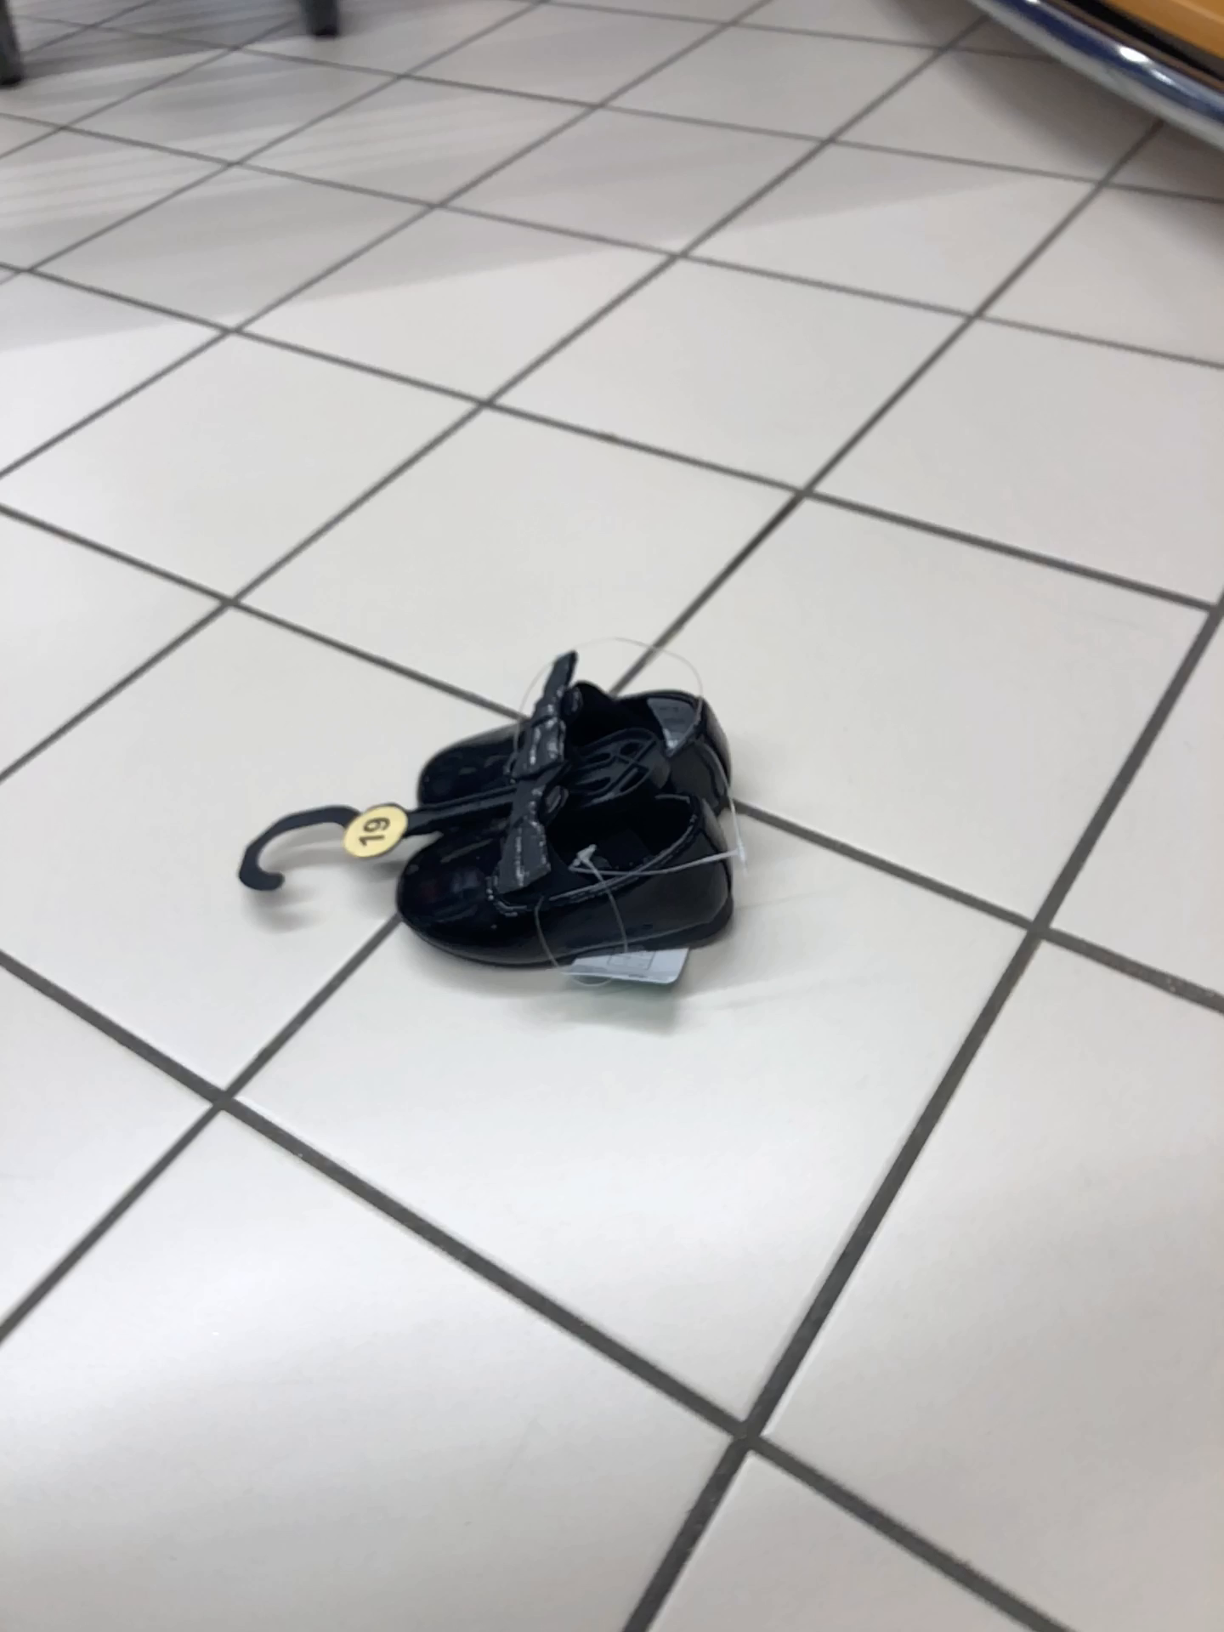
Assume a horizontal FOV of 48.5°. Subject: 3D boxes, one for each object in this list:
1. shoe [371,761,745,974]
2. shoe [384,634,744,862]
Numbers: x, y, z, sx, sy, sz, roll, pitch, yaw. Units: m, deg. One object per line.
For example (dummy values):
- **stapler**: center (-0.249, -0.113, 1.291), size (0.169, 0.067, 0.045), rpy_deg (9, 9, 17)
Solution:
- **shoe**: center (-0.016, 0.018, 0.478), size (0.122, 0.037, 0.061), rpy_deg (-2, 46, 5)
- **shoe**: center (-0.015, -0.025, 0.511), size (0.125, 0.052, 0.061), rpy_deg (-2, 46, 5)
